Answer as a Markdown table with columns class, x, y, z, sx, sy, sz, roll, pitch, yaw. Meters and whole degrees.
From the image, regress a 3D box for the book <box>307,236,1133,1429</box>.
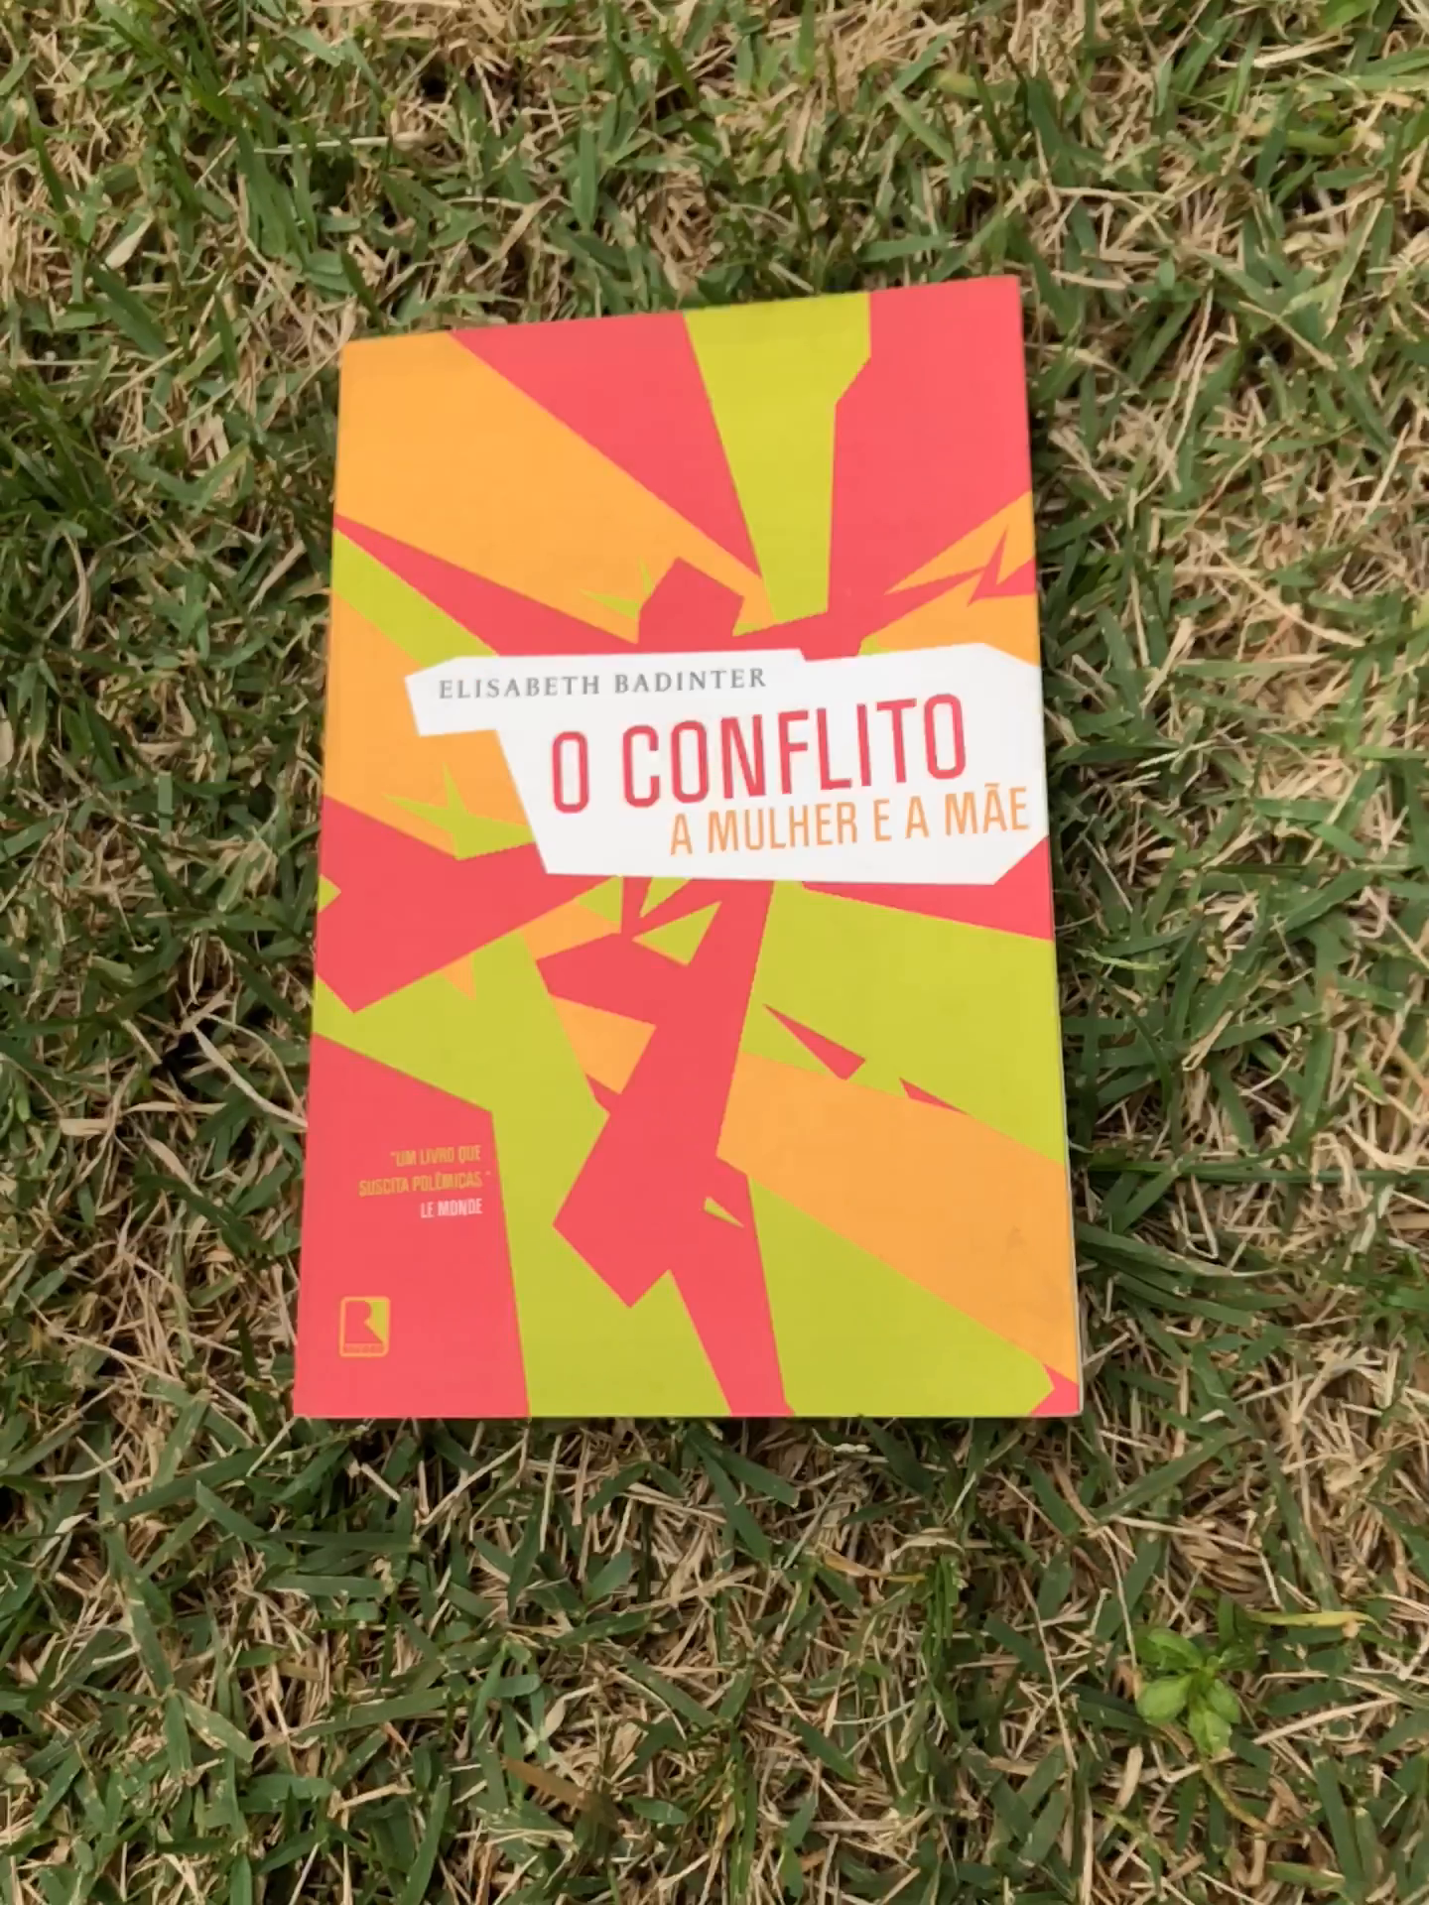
| class | x | y | z | sx | sy | sz | roll | pitch | yaw |
| --- | --- | --- | --- | --- | --- | --- | --- | --- | --- |
| book | 0.000 | -0.023 | 0.278 | 0.130 | 0.020 | 0.200 | -2 | 78 | 9 |
